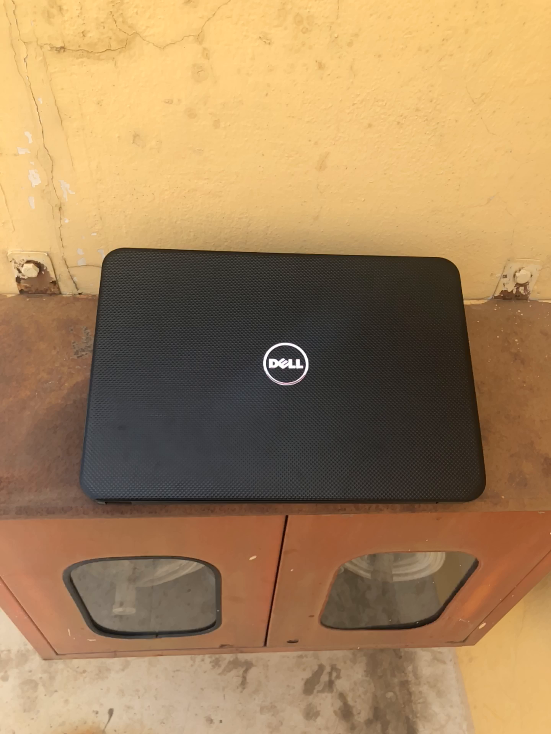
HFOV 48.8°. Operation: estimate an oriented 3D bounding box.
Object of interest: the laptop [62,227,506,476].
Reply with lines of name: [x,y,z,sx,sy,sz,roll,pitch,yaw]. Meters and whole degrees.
laptop: [0.008,-0.015,0.562,0.352,0.098,0.183,1,59,-4]
